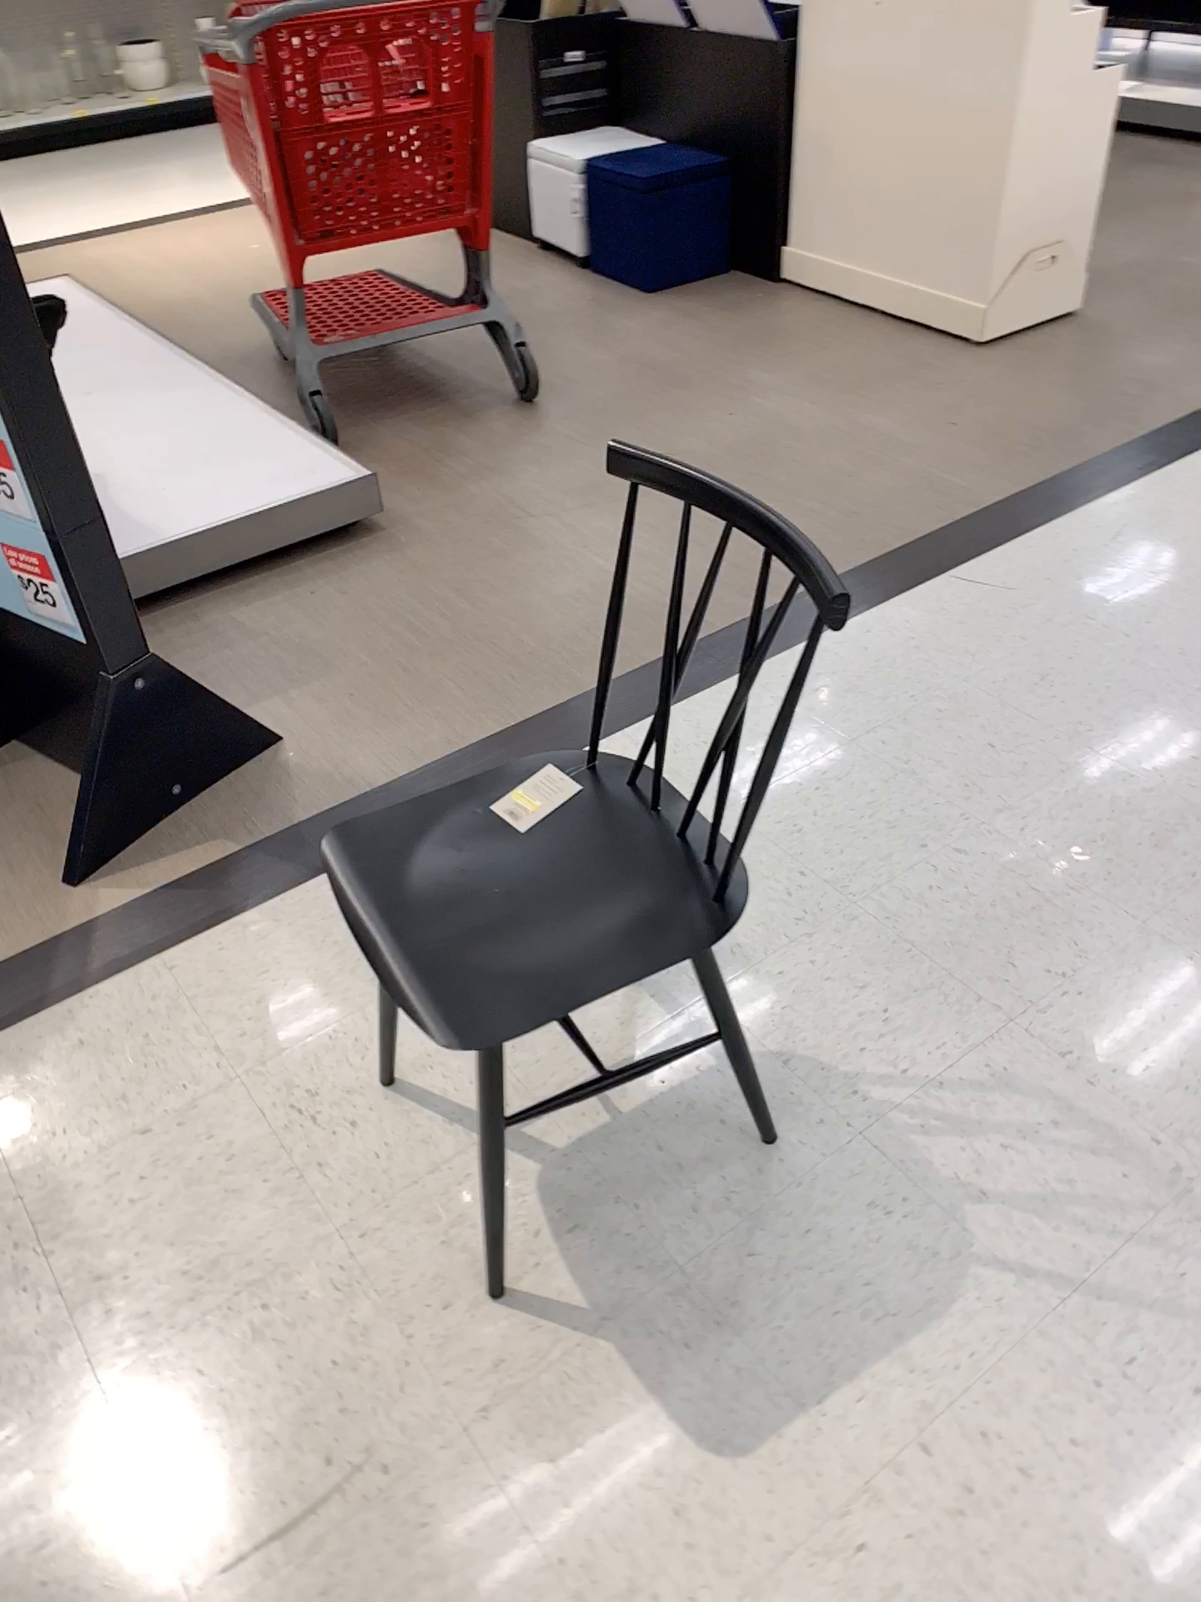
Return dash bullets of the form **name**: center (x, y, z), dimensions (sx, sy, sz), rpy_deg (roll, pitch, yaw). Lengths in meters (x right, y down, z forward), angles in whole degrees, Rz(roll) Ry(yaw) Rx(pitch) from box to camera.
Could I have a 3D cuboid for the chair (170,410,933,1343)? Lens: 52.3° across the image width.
- **chair**: center (-0.045, 0.071, 1.330), dimensions (0.521, 0.736, 0.482), rpy_deg (-23, 43, -22)
